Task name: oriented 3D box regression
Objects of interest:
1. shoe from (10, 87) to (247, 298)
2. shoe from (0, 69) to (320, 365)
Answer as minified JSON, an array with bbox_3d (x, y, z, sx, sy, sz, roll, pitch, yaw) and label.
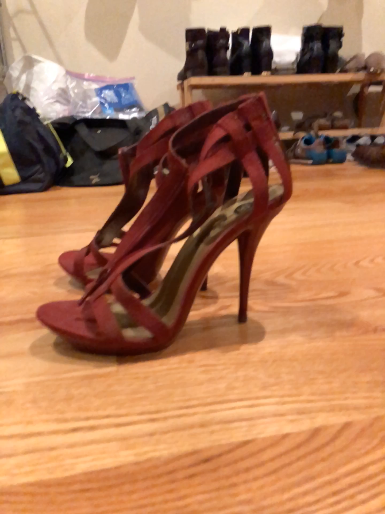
[{"bbox_3d":[-0.052,-0.064,0.415,0.199,0.175,0.085,2,17,15],"label":"shoe"},{"bbox_3d":[-0.025,-0.036,0.312,0.206,0.175,0.085,-6,17,-11],"label":"shoe"}]
